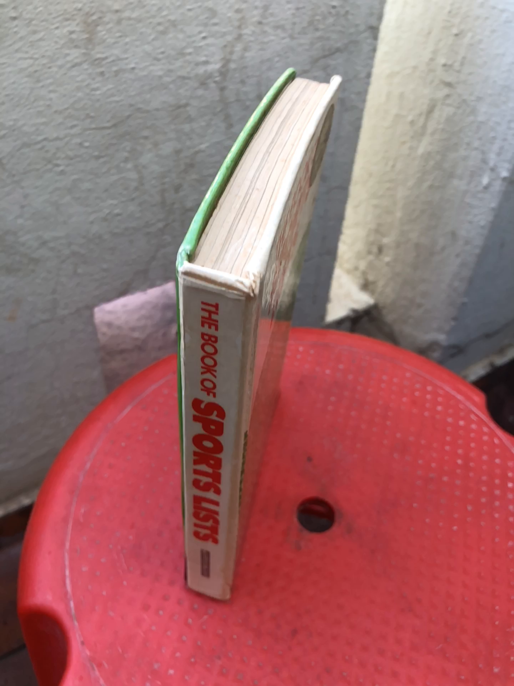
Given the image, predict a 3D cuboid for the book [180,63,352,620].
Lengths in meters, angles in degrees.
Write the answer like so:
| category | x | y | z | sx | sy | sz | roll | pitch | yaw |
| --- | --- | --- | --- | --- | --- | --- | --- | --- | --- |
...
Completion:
| category | x | y | z | sx | sy | sz | roll | pitch | yaw |
| --- | --- | --- | --- | --- | --- | --- | --- | --- | --- |
| book | 0.002 | 0.010 | 0.275 | 0.030 | 0.219 | 0.151 | 12 | 44 | 5 |
